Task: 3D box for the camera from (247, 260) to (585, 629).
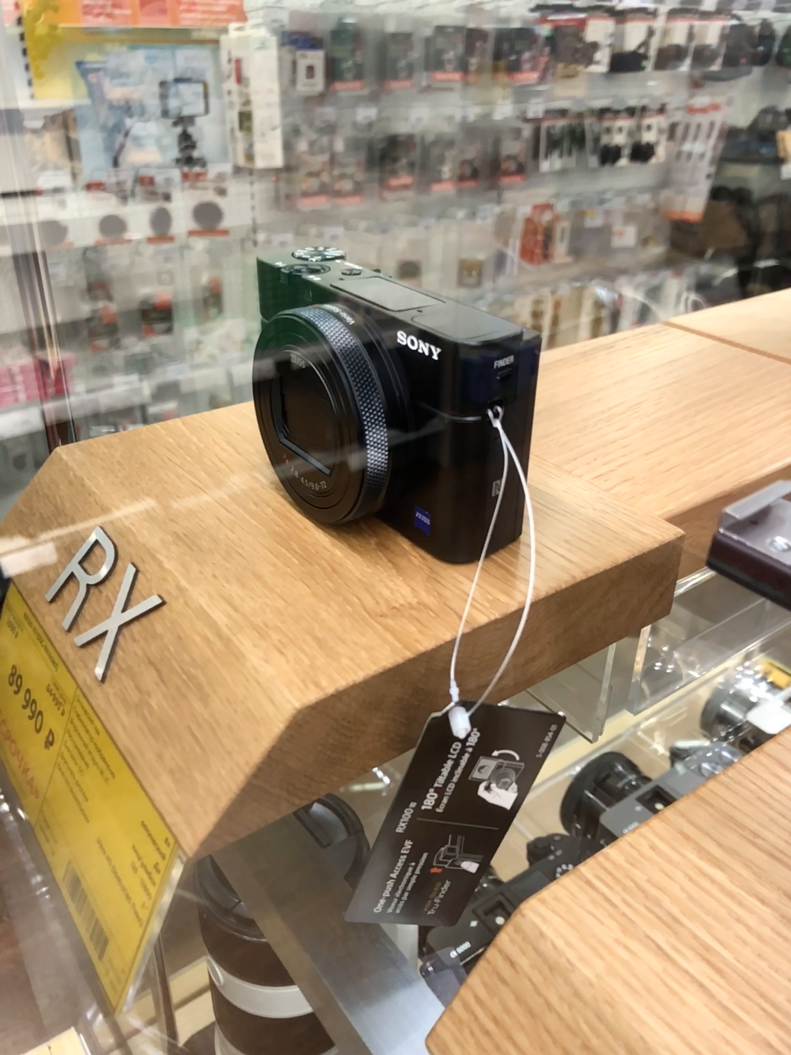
[{"bbox_3d":[0.000,-0.030,0.256,0.040,0.070,0.100,-18,35,-31],"label":"camera"}]
